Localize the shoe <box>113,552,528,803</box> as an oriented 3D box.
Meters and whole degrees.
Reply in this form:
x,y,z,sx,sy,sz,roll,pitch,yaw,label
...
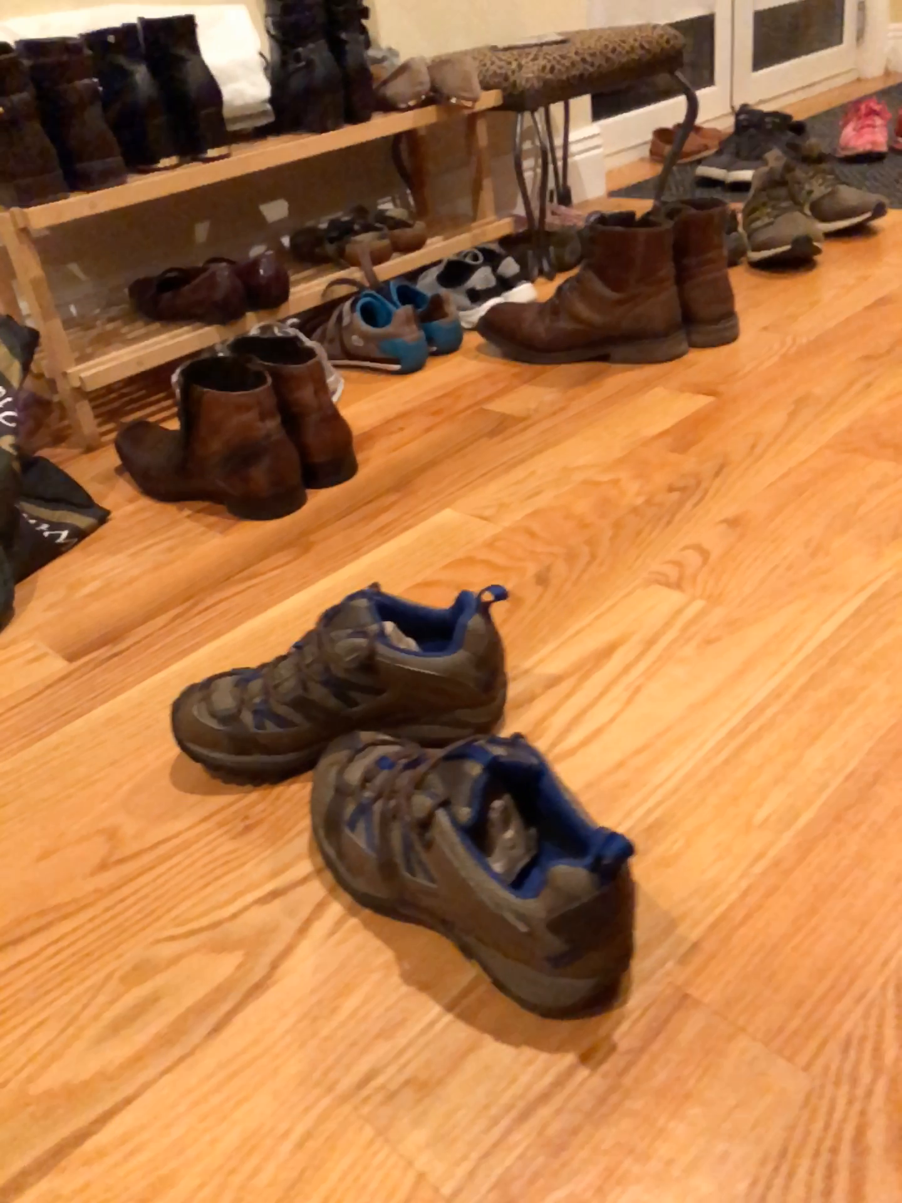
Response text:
x,y,z,sx,sy,sz,roll,pitch,yaw,label
-0.083,0.050,0.679,0.251,0.094,0.097,-9,31,0,shoe

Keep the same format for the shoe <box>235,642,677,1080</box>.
x,y,z,sx,sy,sz,roll,pitch,yaw,label
-0.003,0.127,0.553,0.095,0.106,0.240,-32,38,-33,shoe
